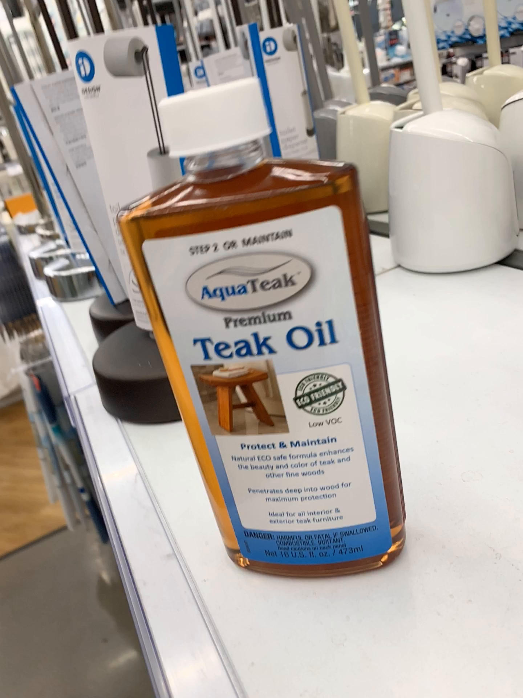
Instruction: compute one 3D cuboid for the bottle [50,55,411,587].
[{"bbox_3d":[0.003,0.006,0.222,0.088,0.207,0.046,-7,26,13],"label":"bottle"}]
